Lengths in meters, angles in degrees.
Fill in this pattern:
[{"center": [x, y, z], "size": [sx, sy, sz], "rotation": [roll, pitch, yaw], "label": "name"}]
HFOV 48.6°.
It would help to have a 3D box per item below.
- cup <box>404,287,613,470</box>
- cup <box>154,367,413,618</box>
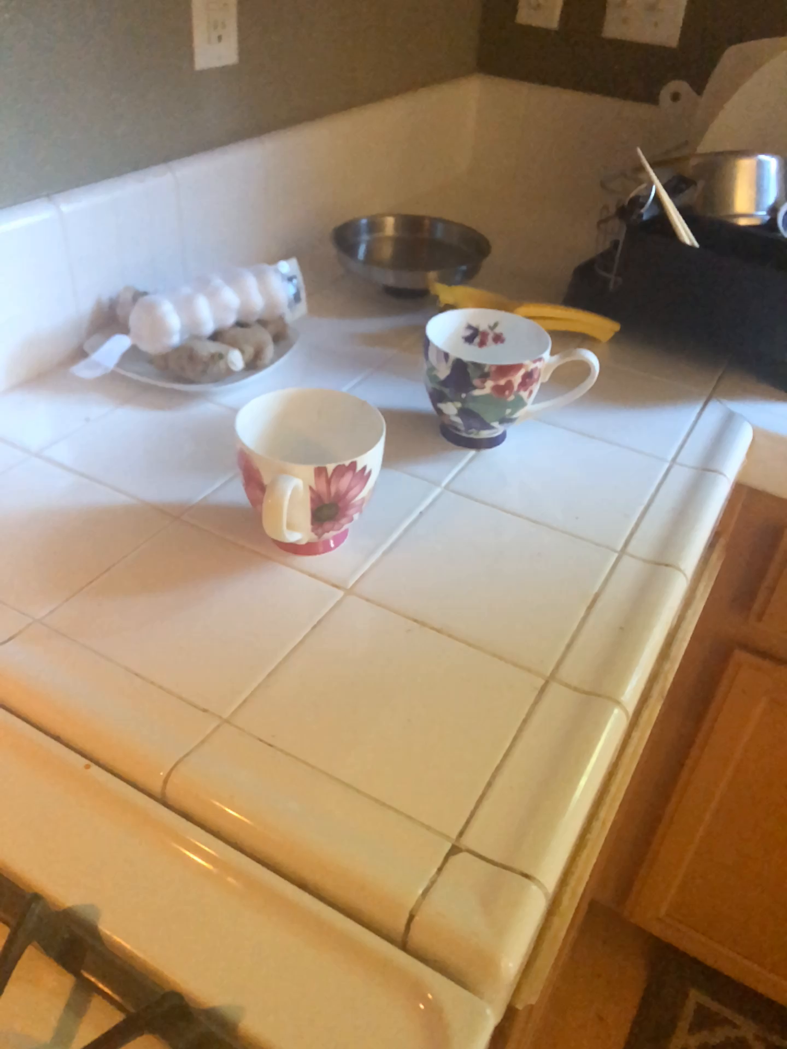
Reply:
[{"center": [0.100, -0.129, 0.753], "size": [0.150, 0.089, 0.111], "rotation": [14, 38, 11], "label": "cup"}, {"center": [-0.070, -0.029, 0.600], "size": [0.110, 0.079, 0.151], "rotation": [18, 39, 16], "label": "cup"}]
